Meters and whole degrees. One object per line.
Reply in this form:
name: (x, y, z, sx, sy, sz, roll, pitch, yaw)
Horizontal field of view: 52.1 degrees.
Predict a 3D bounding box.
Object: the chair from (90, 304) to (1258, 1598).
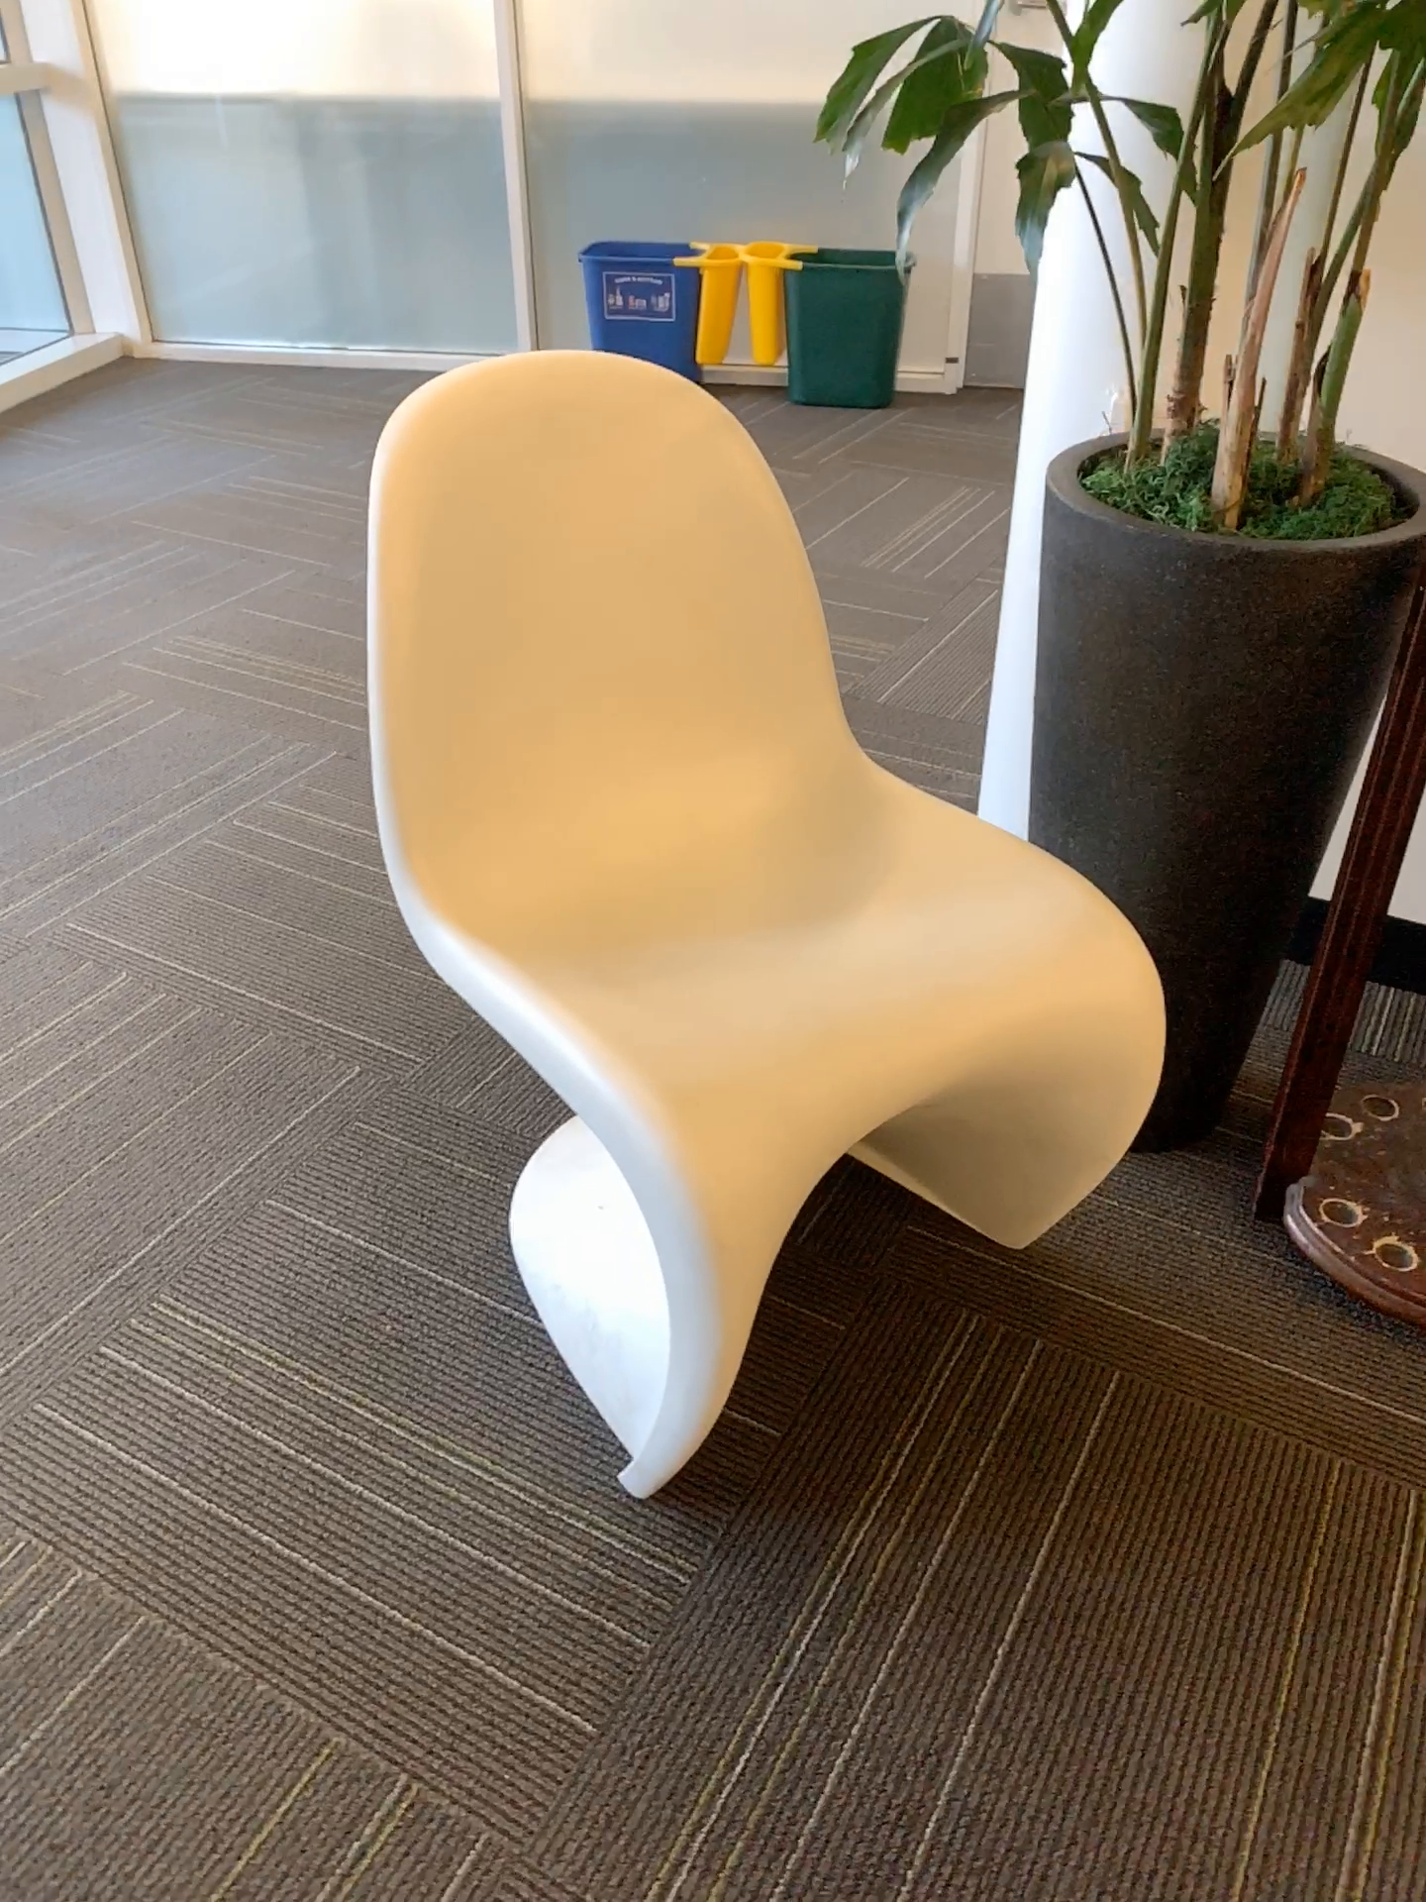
chair: (-0.017, -0.056, 1.259, 0.582, 0.775, 0.601, 27, 43, 33)
